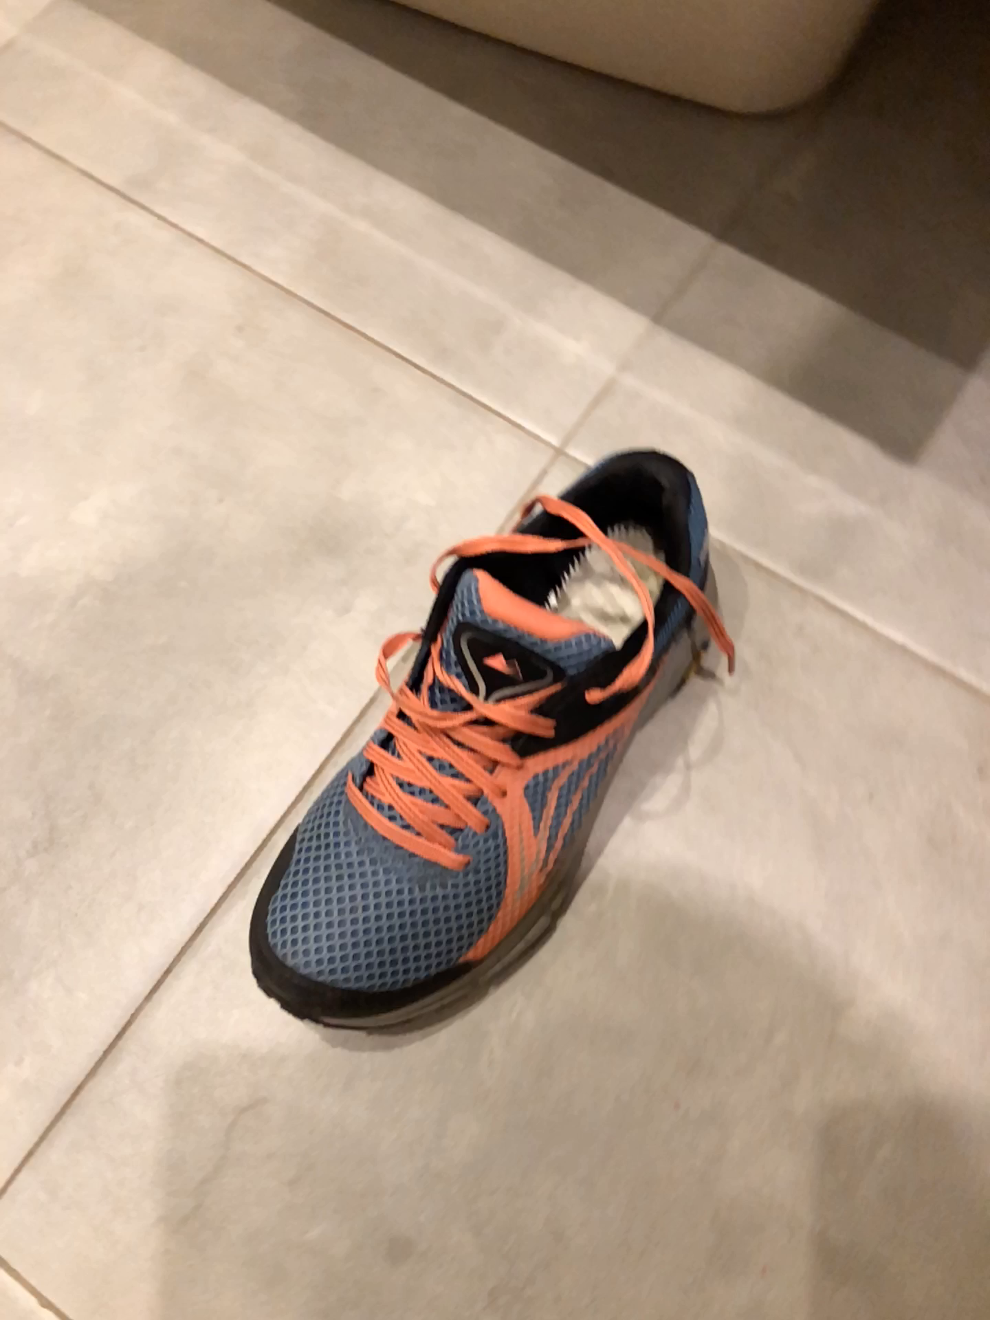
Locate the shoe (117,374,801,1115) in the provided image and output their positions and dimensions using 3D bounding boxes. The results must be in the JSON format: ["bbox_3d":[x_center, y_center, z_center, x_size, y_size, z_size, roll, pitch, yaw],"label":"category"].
[{"bbox_3d":[-0.005,0.029,0.422,0.110,0.090,0.251,34,74,13],"label":"shoe"}]
